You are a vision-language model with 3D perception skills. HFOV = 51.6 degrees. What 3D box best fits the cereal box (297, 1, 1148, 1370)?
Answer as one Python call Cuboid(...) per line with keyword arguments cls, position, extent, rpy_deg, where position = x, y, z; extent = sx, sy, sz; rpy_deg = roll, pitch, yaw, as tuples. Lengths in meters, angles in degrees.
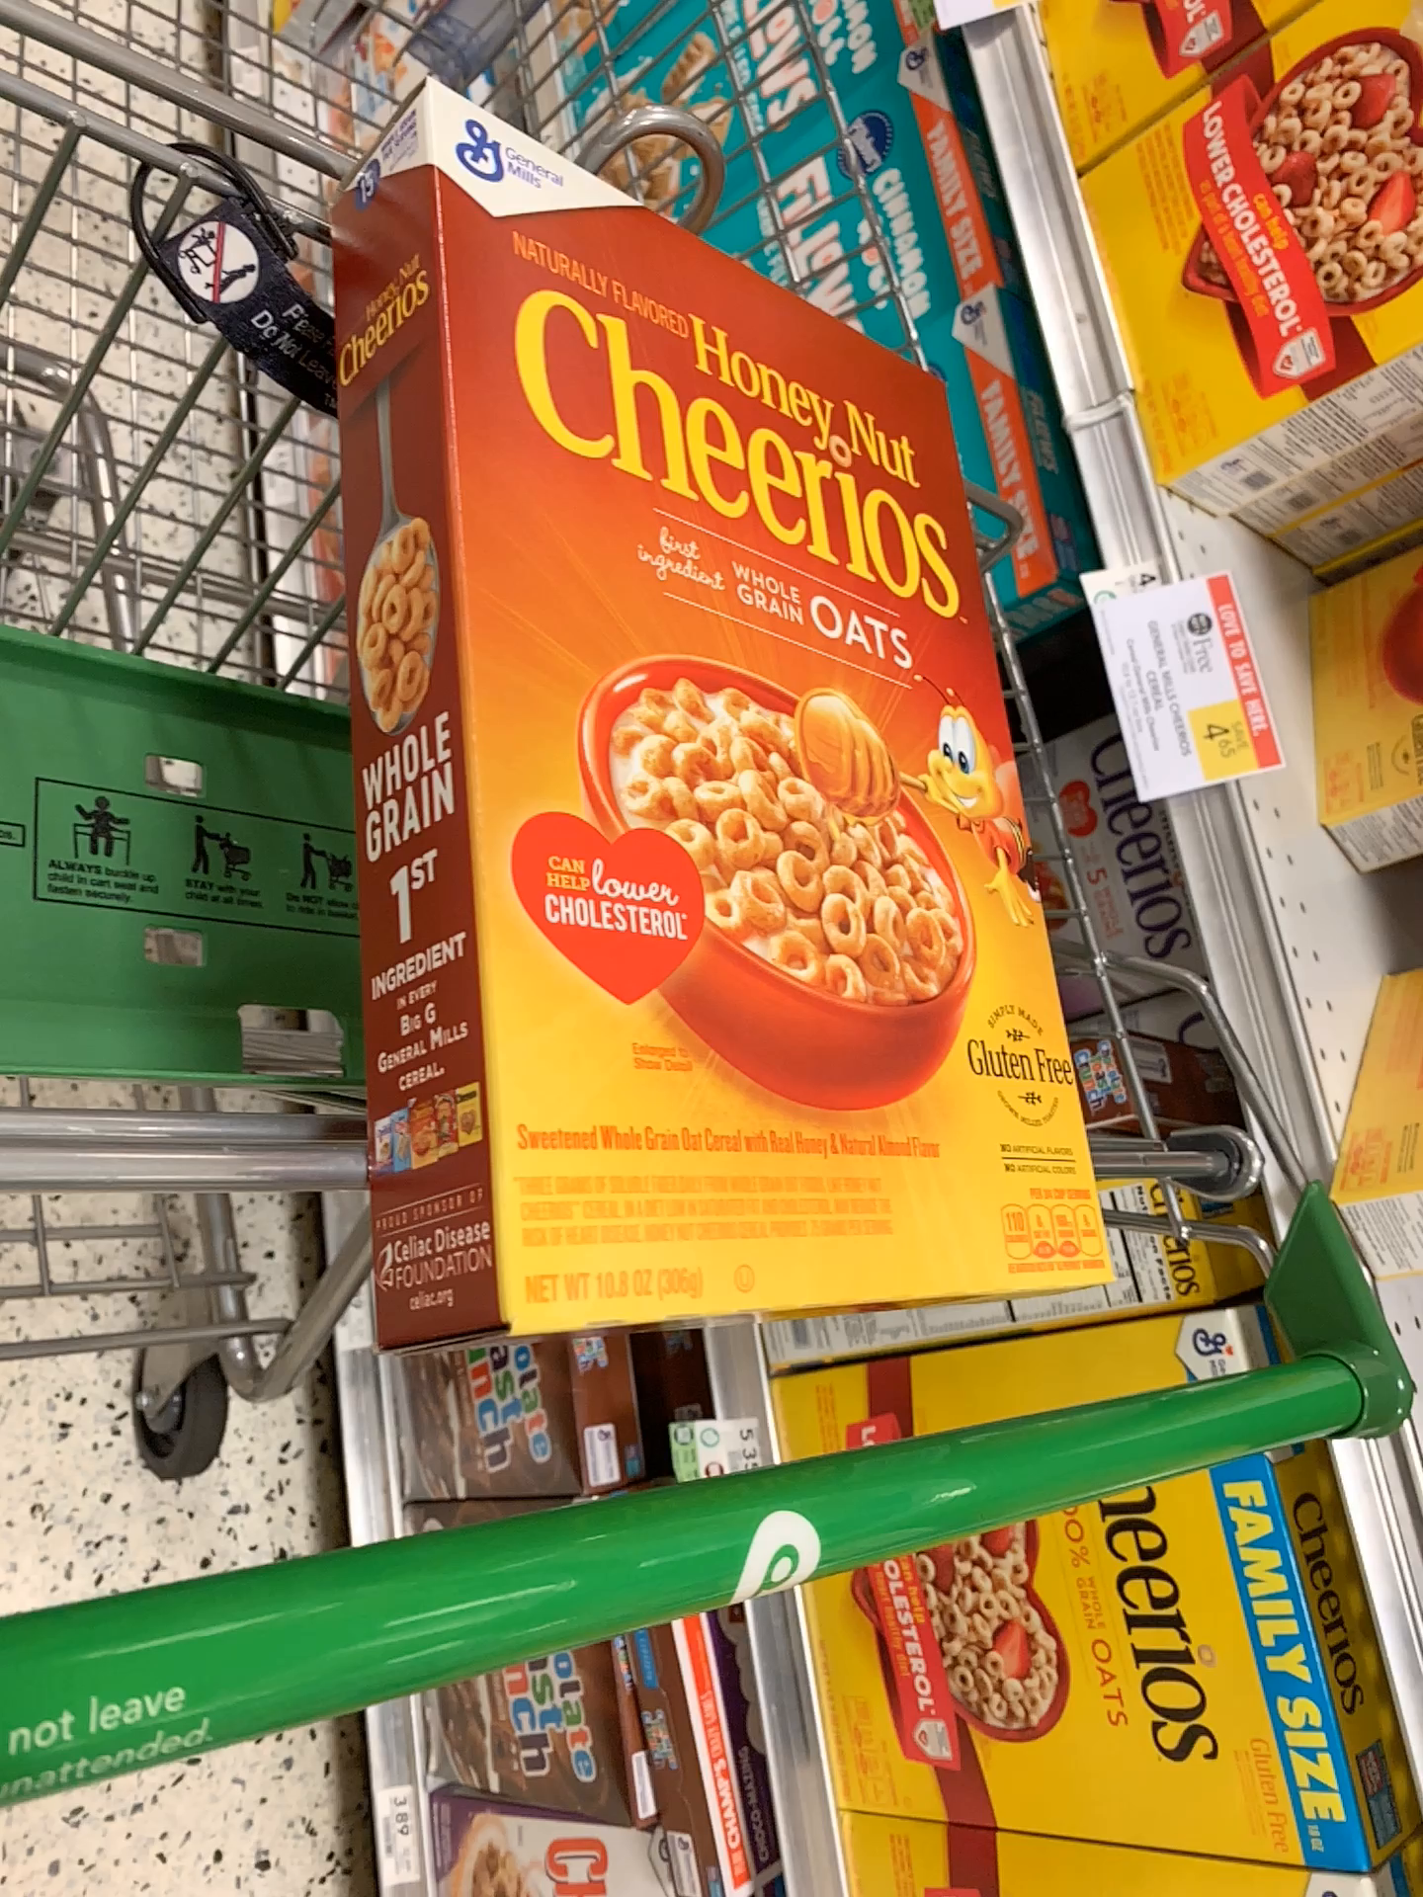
Cuboid(cls="cereal box", position=(0.005, -0.054, 0.376), extent=(0.201, 0.059, 0.291), rpy_deg=(8, 68, -42))
